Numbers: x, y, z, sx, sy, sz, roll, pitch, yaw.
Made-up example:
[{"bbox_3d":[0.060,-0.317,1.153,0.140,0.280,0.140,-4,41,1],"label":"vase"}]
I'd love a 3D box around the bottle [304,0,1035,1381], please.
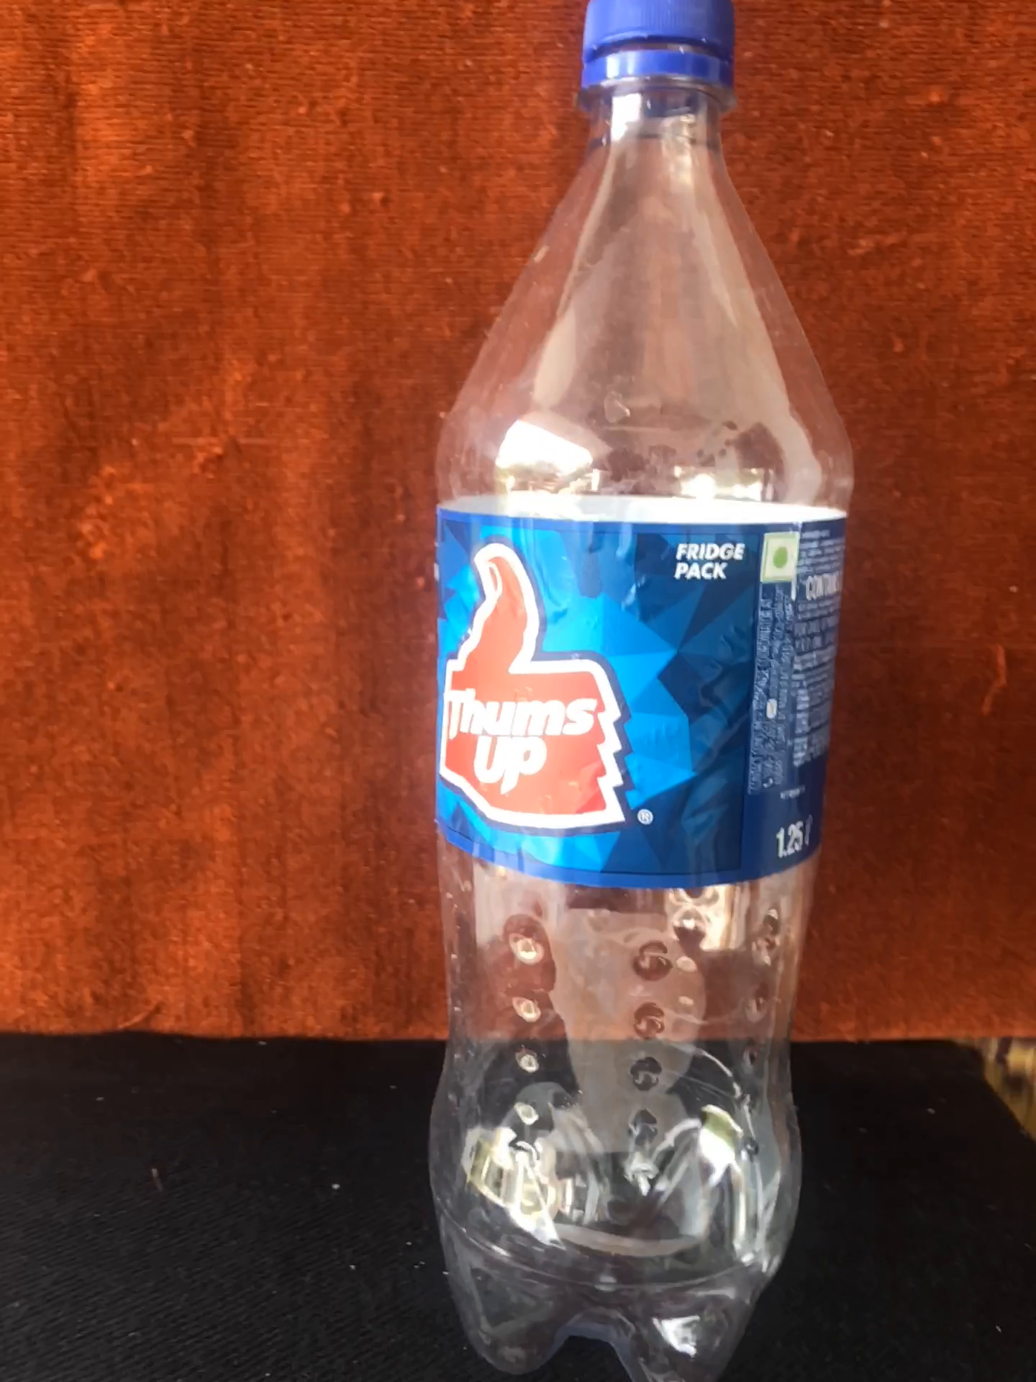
[{"bbox_3d":[0.023,-0.005,0.243,0.100,0.289,0.090,14,18,38],"label":"bottle"}]
